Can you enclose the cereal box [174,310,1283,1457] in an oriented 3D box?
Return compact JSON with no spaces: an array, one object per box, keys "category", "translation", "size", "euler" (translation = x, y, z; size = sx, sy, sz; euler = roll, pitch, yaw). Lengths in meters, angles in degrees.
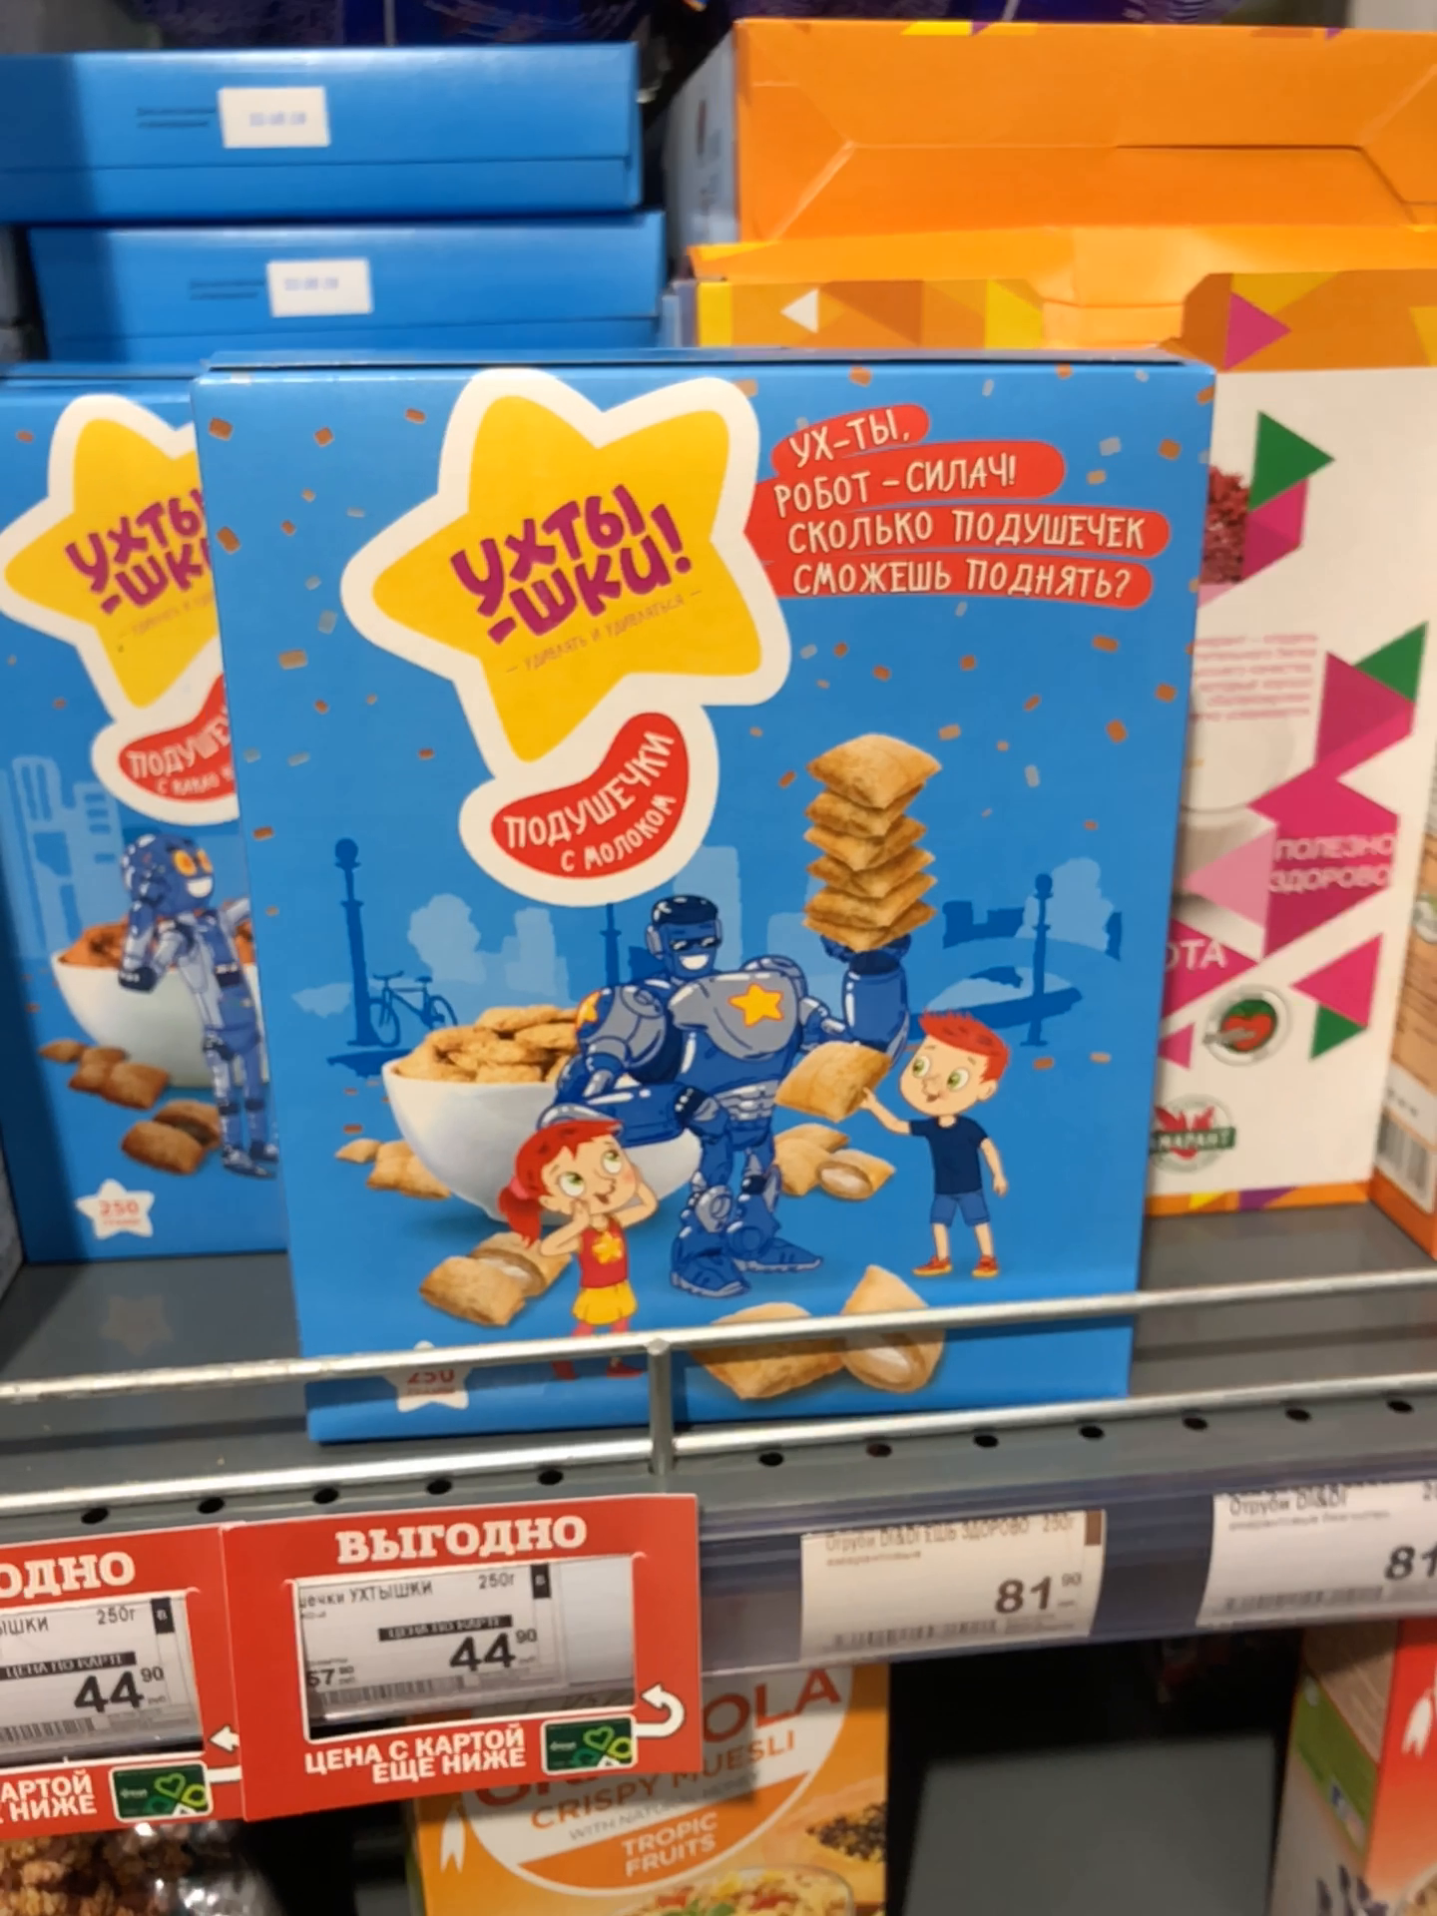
[{"category":"cereal box","translation":[0.005,-0.011,0.353],"size":[0.200,0.239,0.050],"euler":[-2,20,-3]}]
